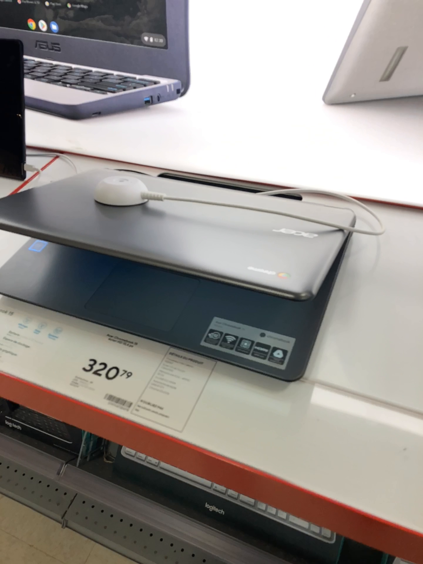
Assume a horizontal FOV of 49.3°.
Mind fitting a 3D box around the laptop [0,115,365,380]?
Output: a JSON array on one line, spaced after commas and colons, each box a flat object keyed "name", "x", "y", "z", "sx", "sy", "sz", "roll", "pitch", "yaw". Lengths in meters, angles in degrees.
[{"name": "laptop", "x": -0.046, "y": -0.072, "z": 0.513, "sx": 0.370, "sy": 0.088, "sz": 0.248, "roll": 14, "pitch": 48, "yaw": 21}]
